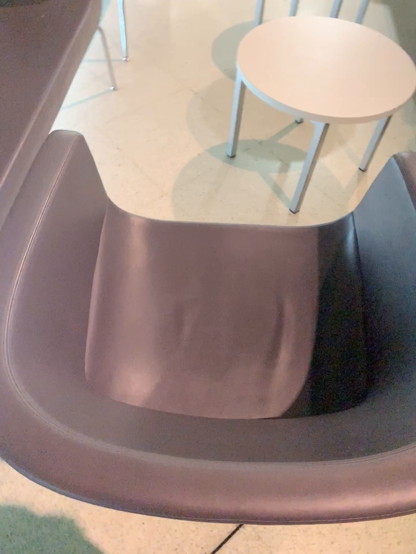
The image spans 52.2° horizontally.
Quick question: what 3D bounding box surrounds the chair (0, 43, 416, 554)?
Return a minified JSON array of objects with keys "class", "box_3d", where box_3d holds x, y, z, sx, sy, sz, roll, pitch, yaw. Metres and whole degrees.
[{"class":"chair","box_3d":[0.000,0.098,0.889,0.730,0.715,0.755,5,56,0]}]
